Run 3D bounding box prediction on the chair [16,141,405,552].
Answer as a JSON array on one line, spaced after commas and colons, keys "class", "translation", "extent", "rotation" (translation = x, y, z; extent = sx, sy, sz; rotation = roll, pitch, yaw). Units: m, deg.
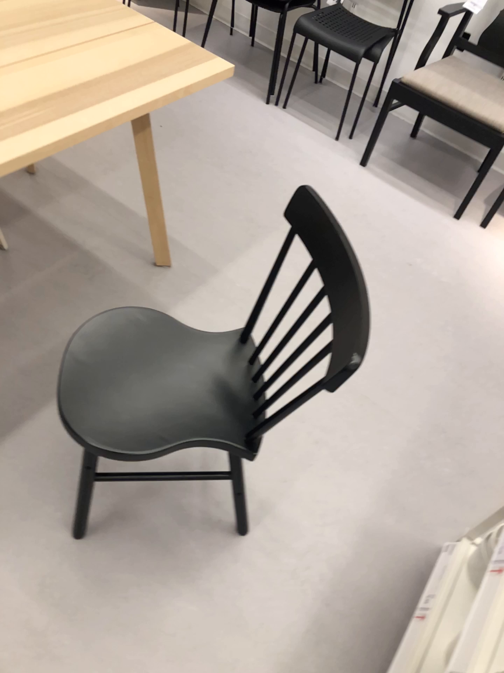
[{"class": "chair", "translation": [-0.121, 0.082, 1.148], "extent": [0.520, 0.716, 0.482], "rotation": [5, 50, -11]}]
